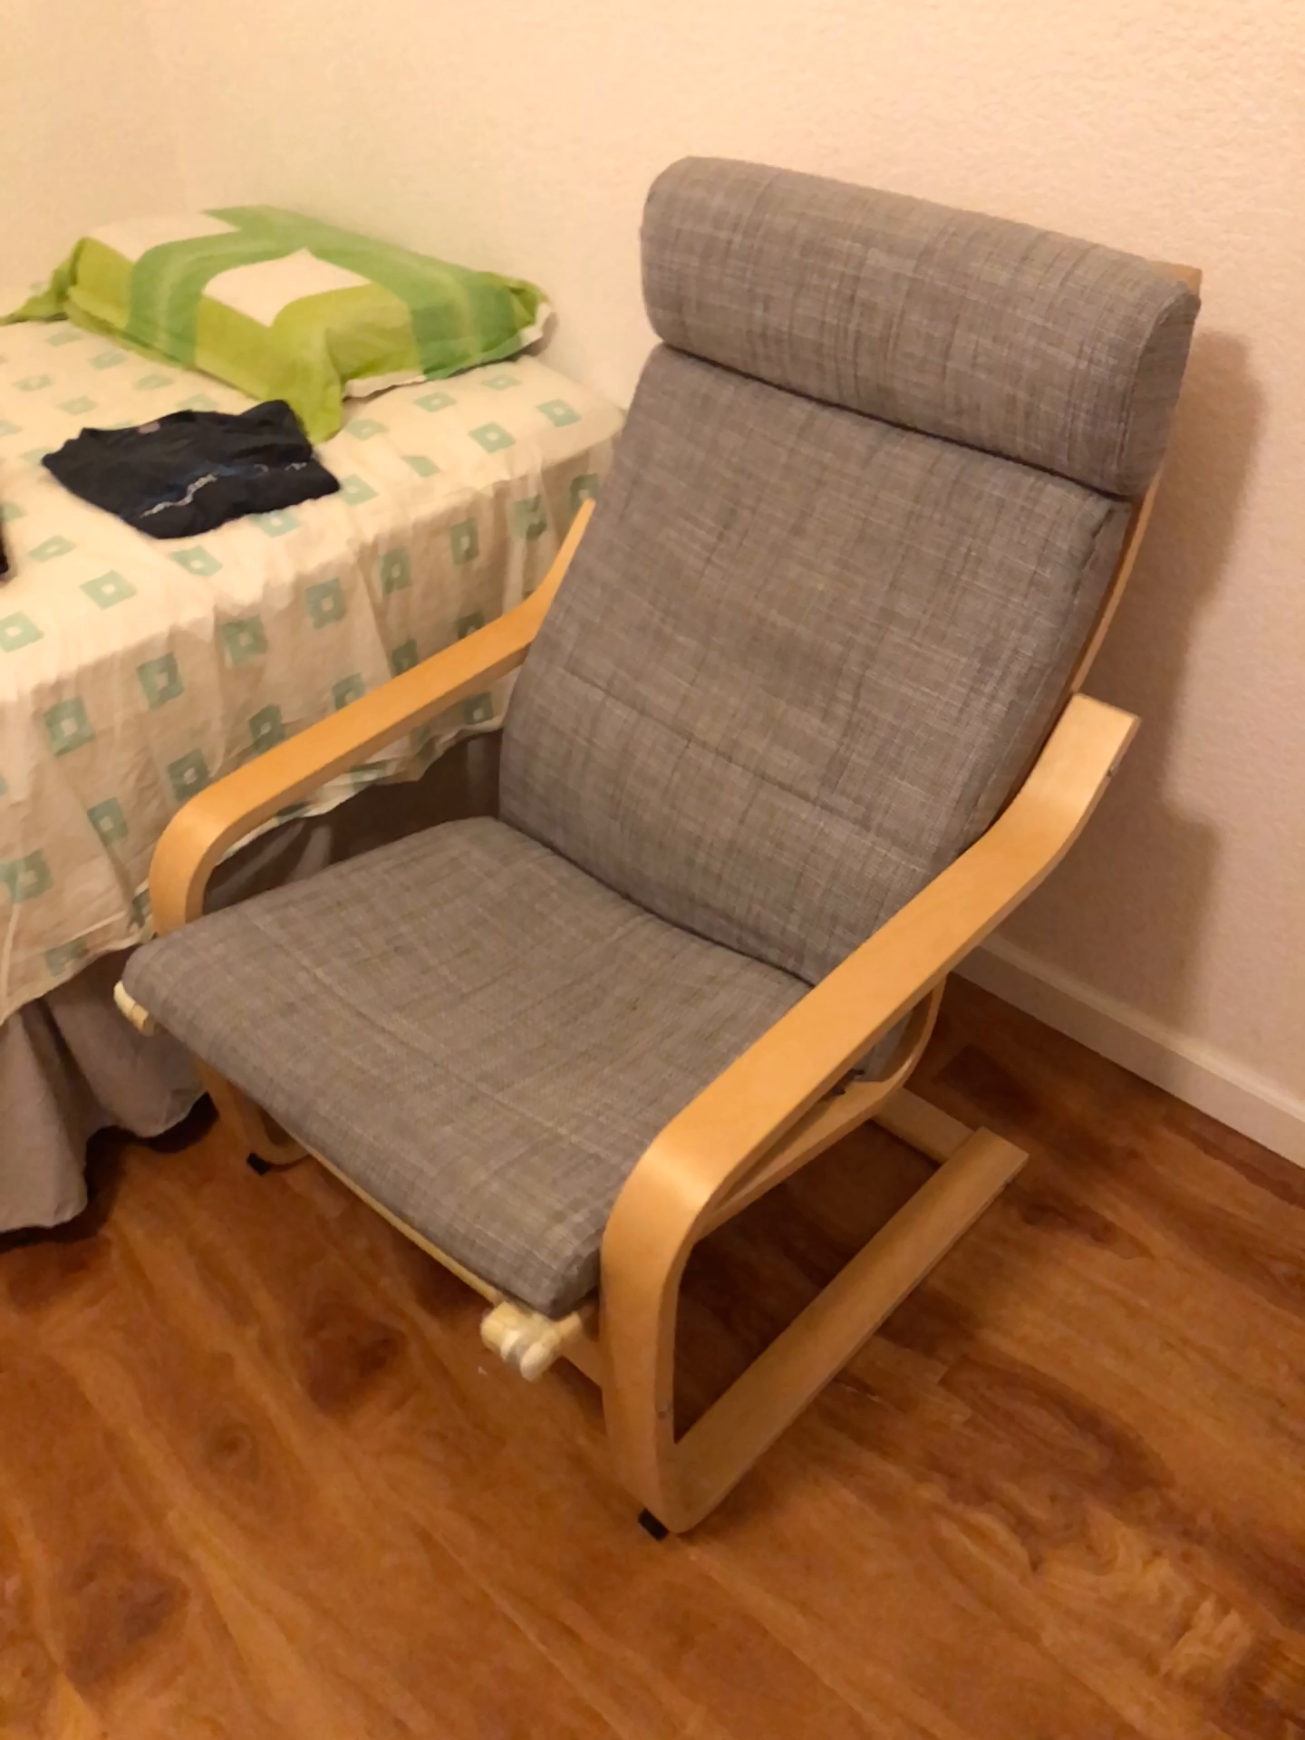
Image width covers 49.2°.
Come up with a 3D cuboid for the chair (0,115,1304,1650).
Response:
[{"bbox_3d":[-0.001,-0.057,1.261,0.682,0.885,0.802,31,49,33],"label":"chair"}]
